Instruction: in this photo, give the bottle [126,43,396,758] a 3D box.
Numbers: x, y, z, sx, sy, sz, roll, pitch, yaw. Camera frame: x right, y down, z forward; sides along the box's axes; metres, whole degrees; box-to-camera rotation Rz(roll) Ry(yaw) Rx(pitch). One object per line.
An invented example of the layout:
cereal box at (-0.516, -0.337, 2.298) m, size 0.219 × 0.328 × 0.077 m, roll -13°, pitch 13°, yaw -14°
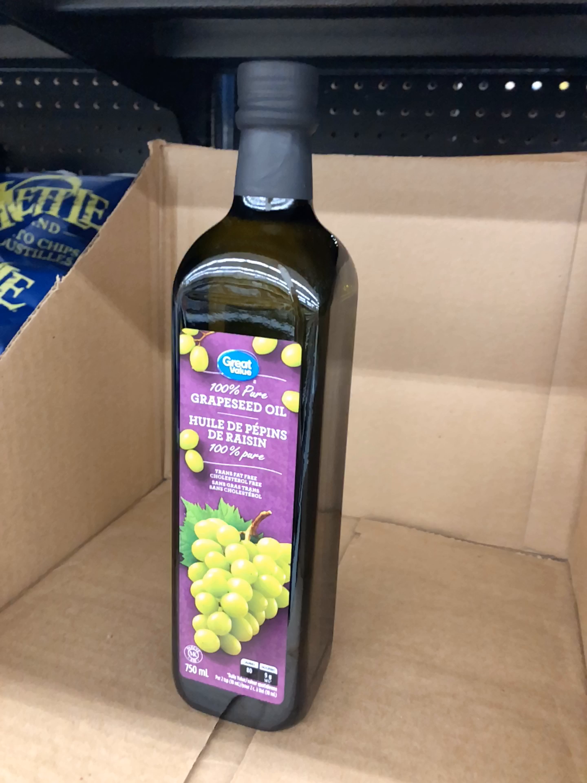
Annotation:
bottle at (-0.013, 0.013, 0.278) m, size 0.080 × 0.278 × 0.060 m, roll 8°, pitch 20°, yaw 17°
